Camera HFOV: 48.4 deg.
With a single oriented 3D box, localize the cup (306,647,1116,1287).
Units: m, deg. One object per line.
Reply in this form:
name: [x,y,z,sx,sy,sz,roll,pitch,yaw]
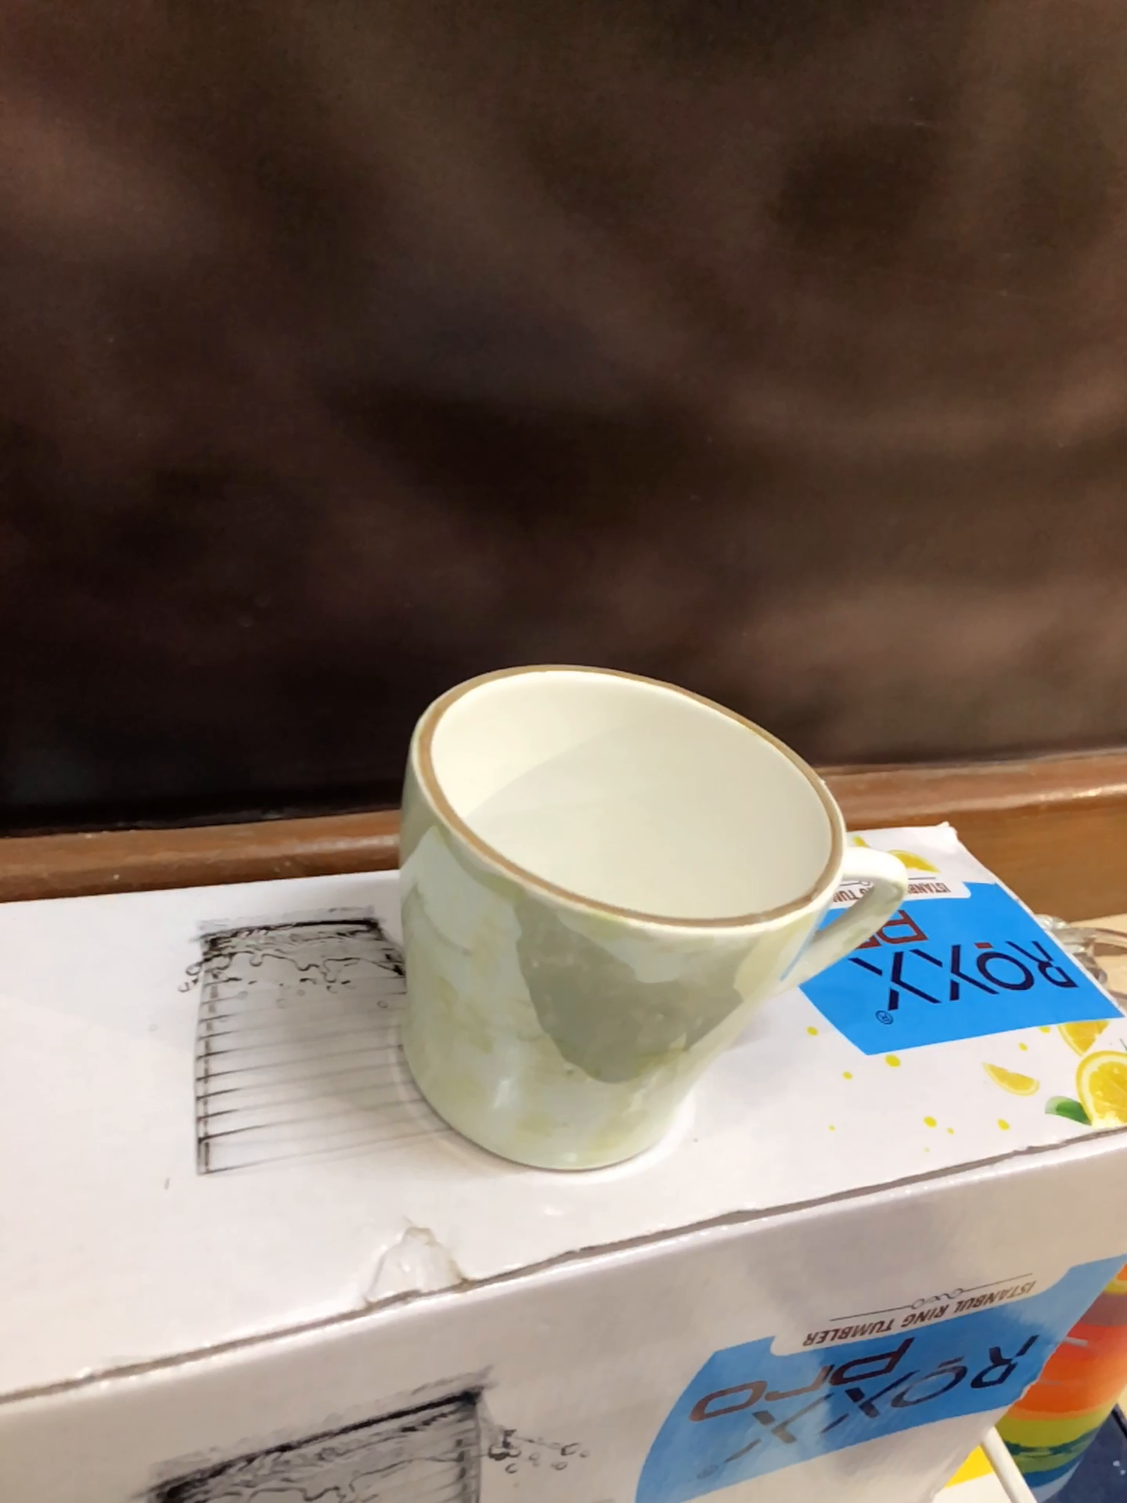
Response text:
cup: [0.019,0.028,0.209,0.100,0.060,0.070,-4,38,-29]
